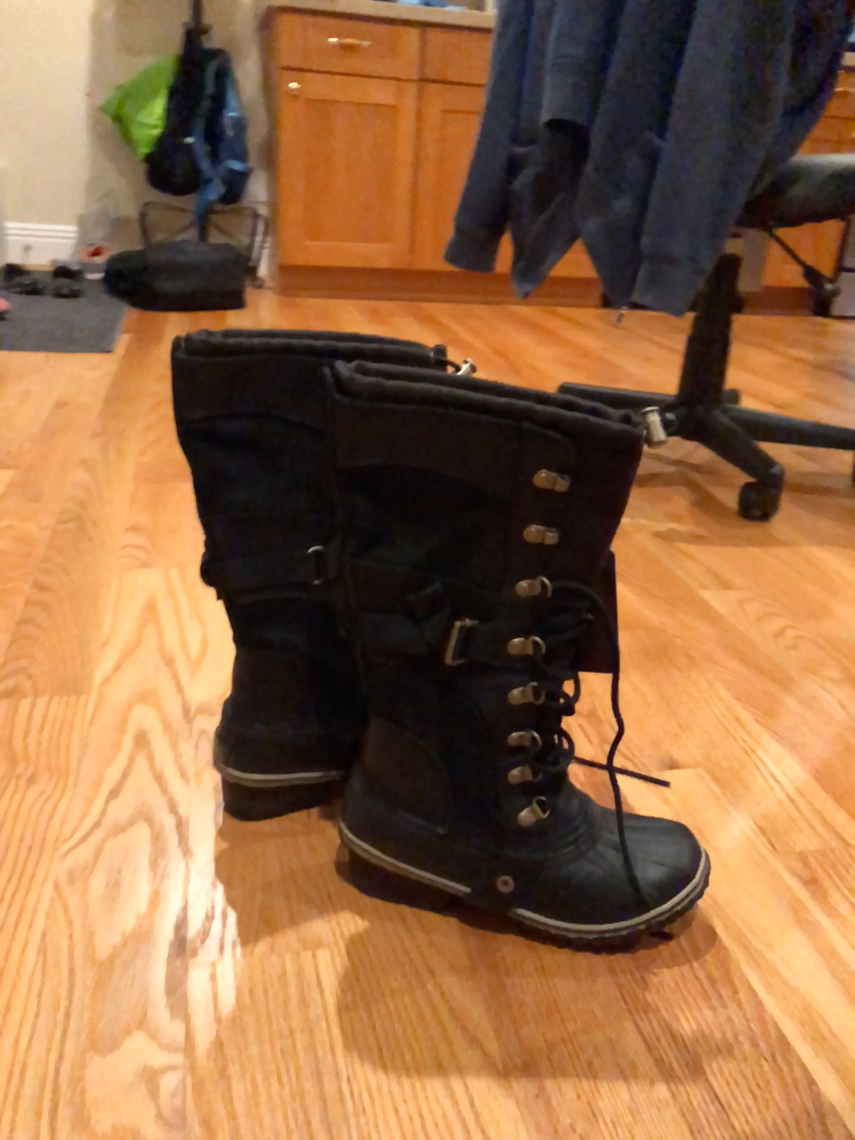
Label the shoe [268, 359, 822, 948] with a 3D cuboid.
[{"bbox_3d":[0.047,0.052,0.545,0.260,0.308,0.101,4,22,1],"label":"shoe"}]

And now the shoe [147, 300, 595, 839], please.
[{"bbox_3d":[-0.043,-0.008,0.647,0.260,0.328,0.100,-7,25,-24],"label":"shoe"}]
